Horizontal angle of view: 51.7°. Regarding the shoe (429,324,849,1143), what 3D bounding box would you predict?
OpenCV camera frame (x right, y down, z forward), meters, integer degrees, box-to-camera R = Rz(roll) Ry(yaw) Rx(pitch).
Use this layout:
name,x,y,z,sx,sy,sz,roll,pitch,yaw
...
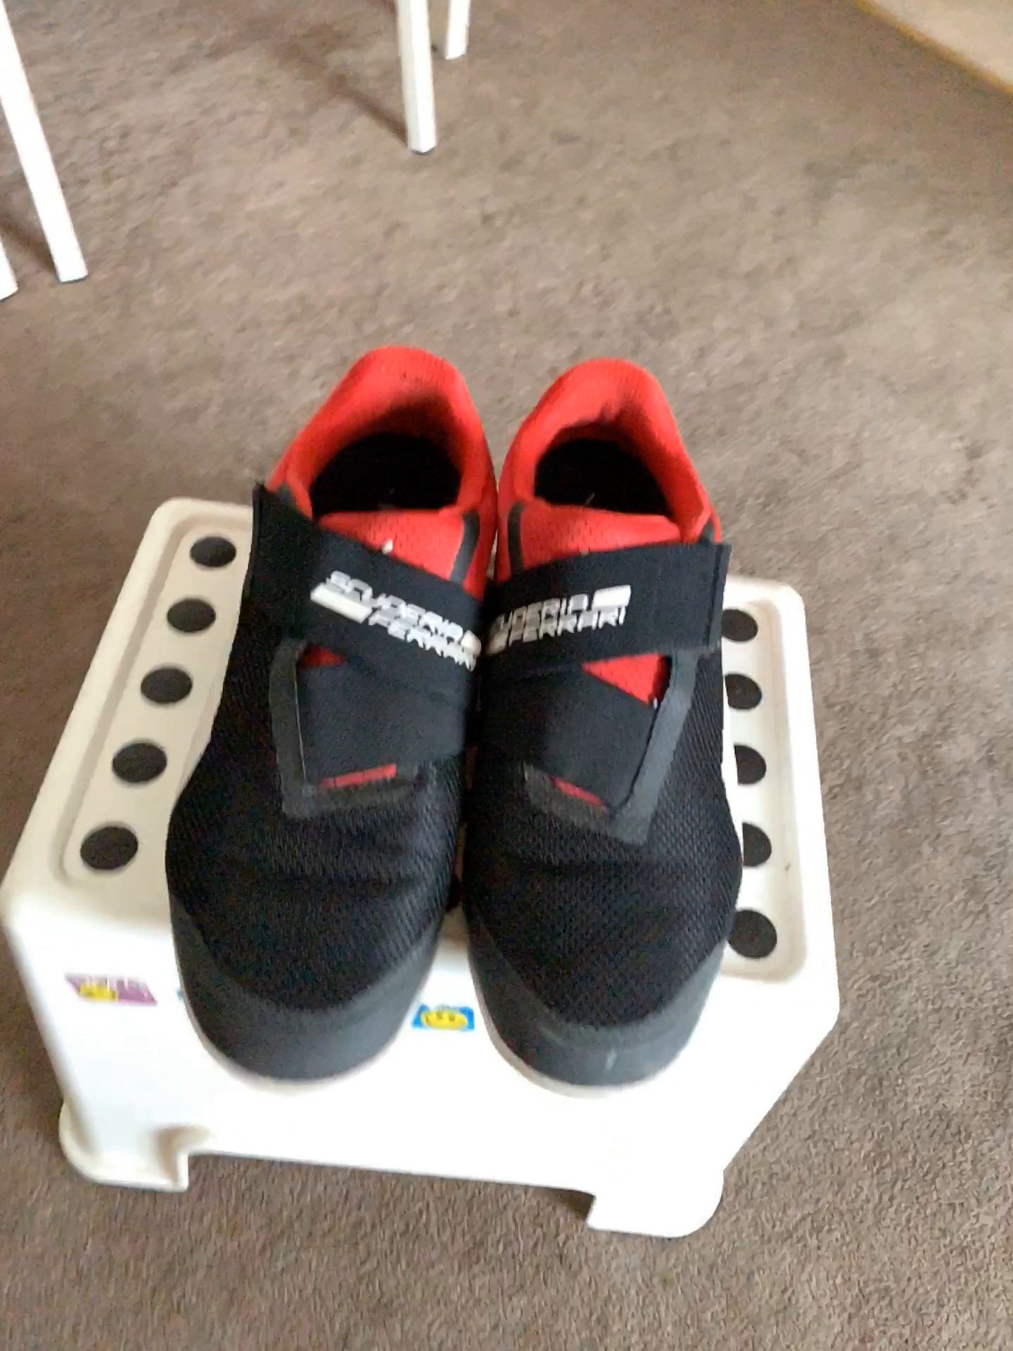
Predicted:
name,x,y,z,sx,sy,sz,roll,pitch,yaw
shoe,0.044,0.006,0.409,0.110,0.099,0.302,7,55,-3

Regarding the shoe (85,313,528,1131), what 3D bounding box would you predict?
name,x,y,z,sx,sy,sz,roll,pitch,yaw
shoe,-0.057,0.001,0.406,0.100,0.099,0.302,7,55,-3
